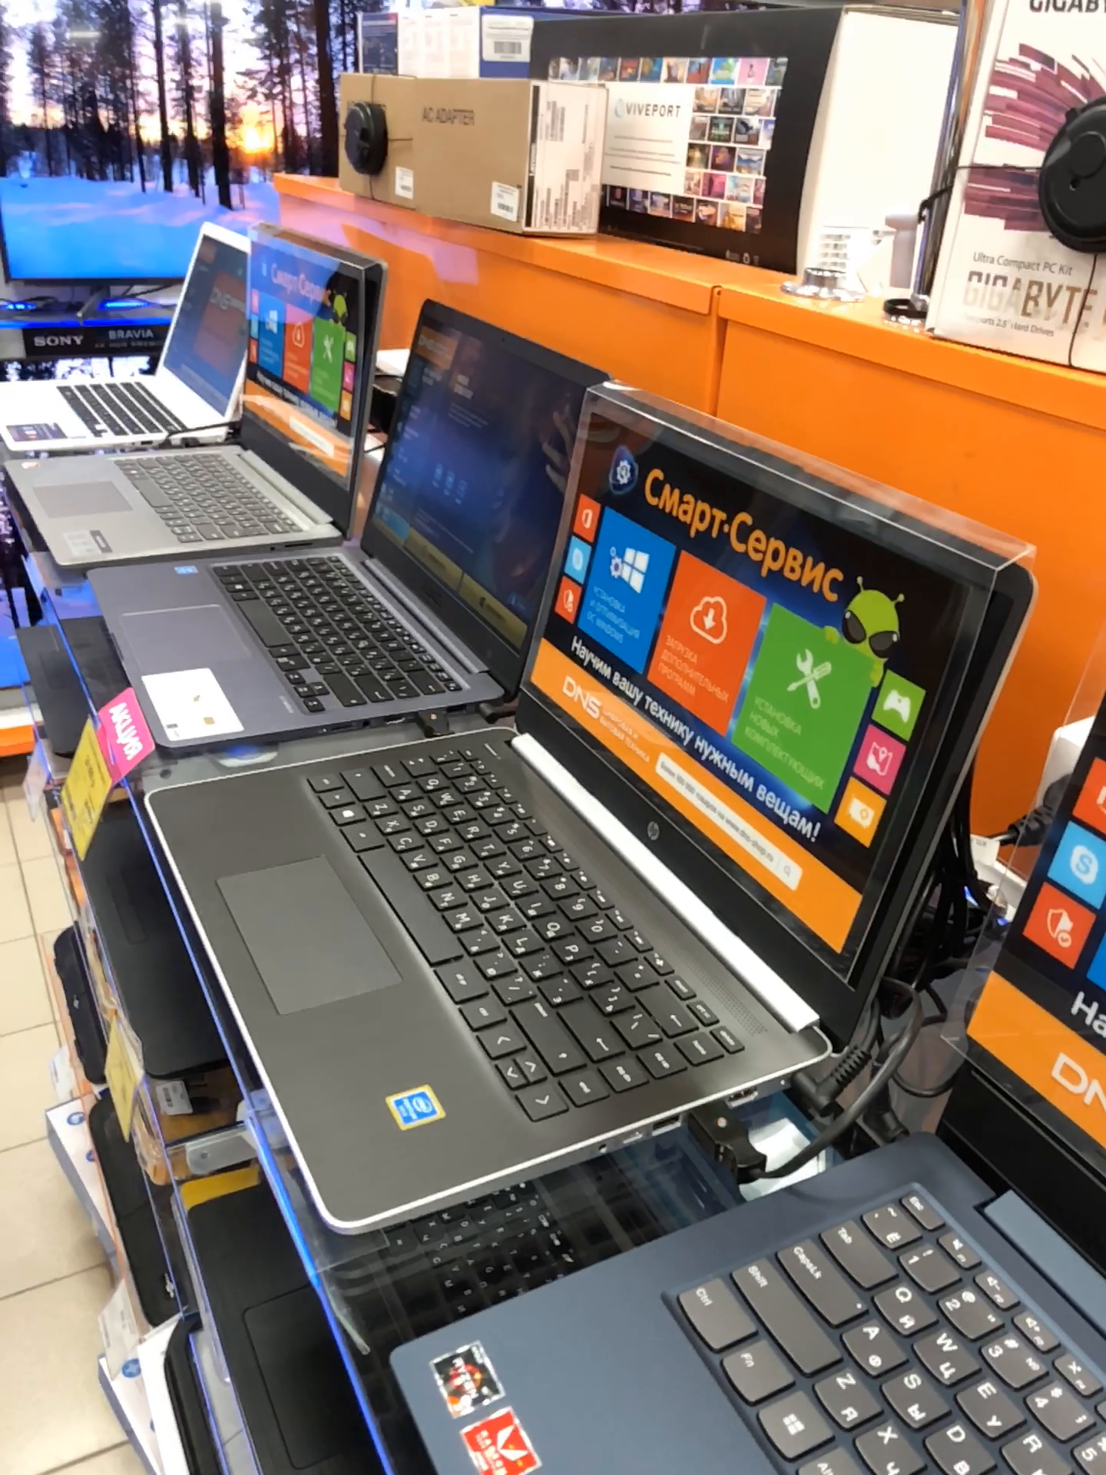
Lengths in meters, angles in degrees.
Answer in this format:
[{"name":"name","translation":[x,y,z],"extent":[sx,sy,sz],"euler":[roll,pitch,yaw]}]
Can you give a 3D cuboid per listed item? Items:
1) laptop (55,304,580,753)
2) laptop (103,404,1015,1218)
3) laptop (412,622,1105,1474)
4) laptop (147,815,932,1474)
[{"name":"laptop","translation":[-0.173,-0.172,0.853],"extent":[0.279,0.198,0.314],"euler":[-10,30,-27]},{"name":"laptop","translation":[-0.027,-0.012,0.554],"extent":[0.267,0.197,0.314],"euler":[-11,30,-25]},{"name":"laptop","translation":[0.125,0.132,0.266],"extent":[0.248,0.205,0.277],"euler":[-10,28,-23]},{"name":"laptop","translation":[-0.041,0.254,0.646],"extent":[0.251,0.245,0.364],"euler":[-10,29,-25]}]
